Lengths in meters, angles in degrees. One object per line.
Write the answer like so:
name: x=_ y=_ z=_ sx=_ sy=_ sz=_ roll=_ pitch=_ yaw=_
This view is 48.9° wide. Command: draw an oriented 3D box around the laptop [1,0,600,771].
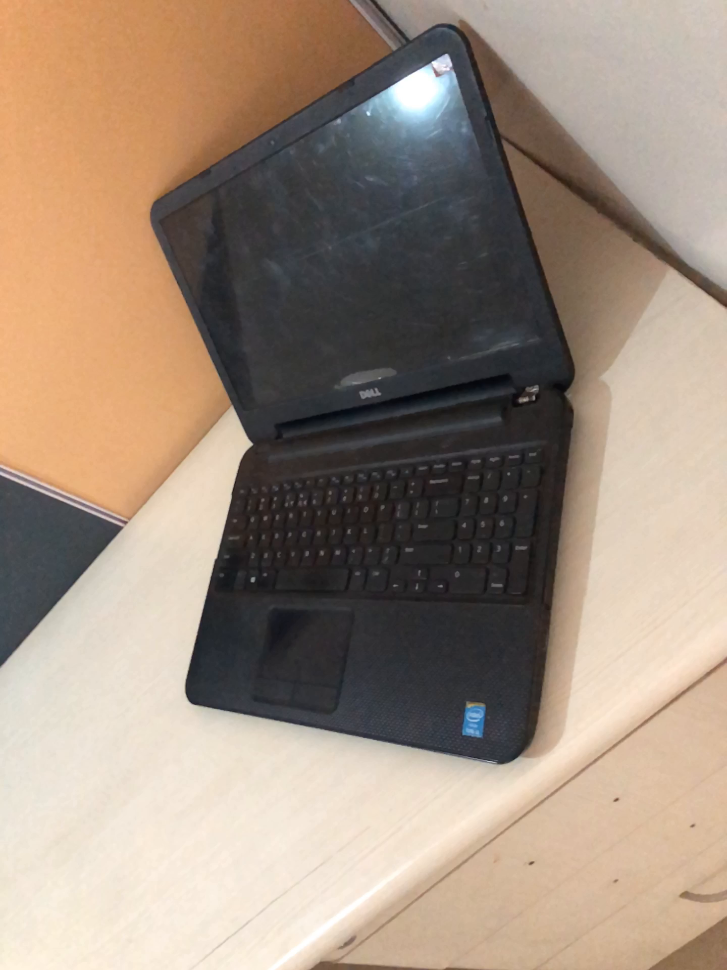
laptop: x=-0.050 y=-0.053 z=0.593 sx=0.354 sy=0.175 sz=0.414 roll=-6 pitch=64 yaw=45
